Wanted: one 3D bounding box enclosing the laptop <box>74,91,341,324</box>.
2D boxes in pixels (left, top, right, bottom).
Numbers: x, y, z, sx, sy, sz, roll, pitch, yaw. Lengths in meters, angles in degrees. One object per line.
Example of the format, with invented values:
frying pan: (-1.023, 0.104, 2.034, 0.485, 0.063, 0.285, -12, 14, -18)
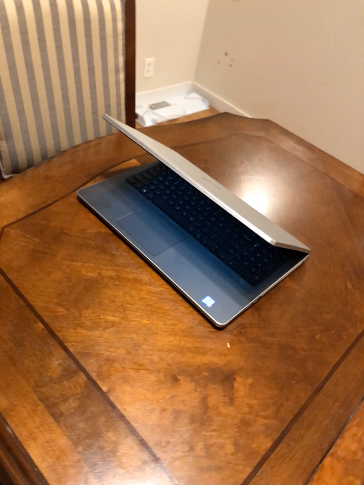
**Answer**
laptop: (0.025, -0.089, 0.684, 0.245, 0.147, 0.364, -29, 58, -36)
